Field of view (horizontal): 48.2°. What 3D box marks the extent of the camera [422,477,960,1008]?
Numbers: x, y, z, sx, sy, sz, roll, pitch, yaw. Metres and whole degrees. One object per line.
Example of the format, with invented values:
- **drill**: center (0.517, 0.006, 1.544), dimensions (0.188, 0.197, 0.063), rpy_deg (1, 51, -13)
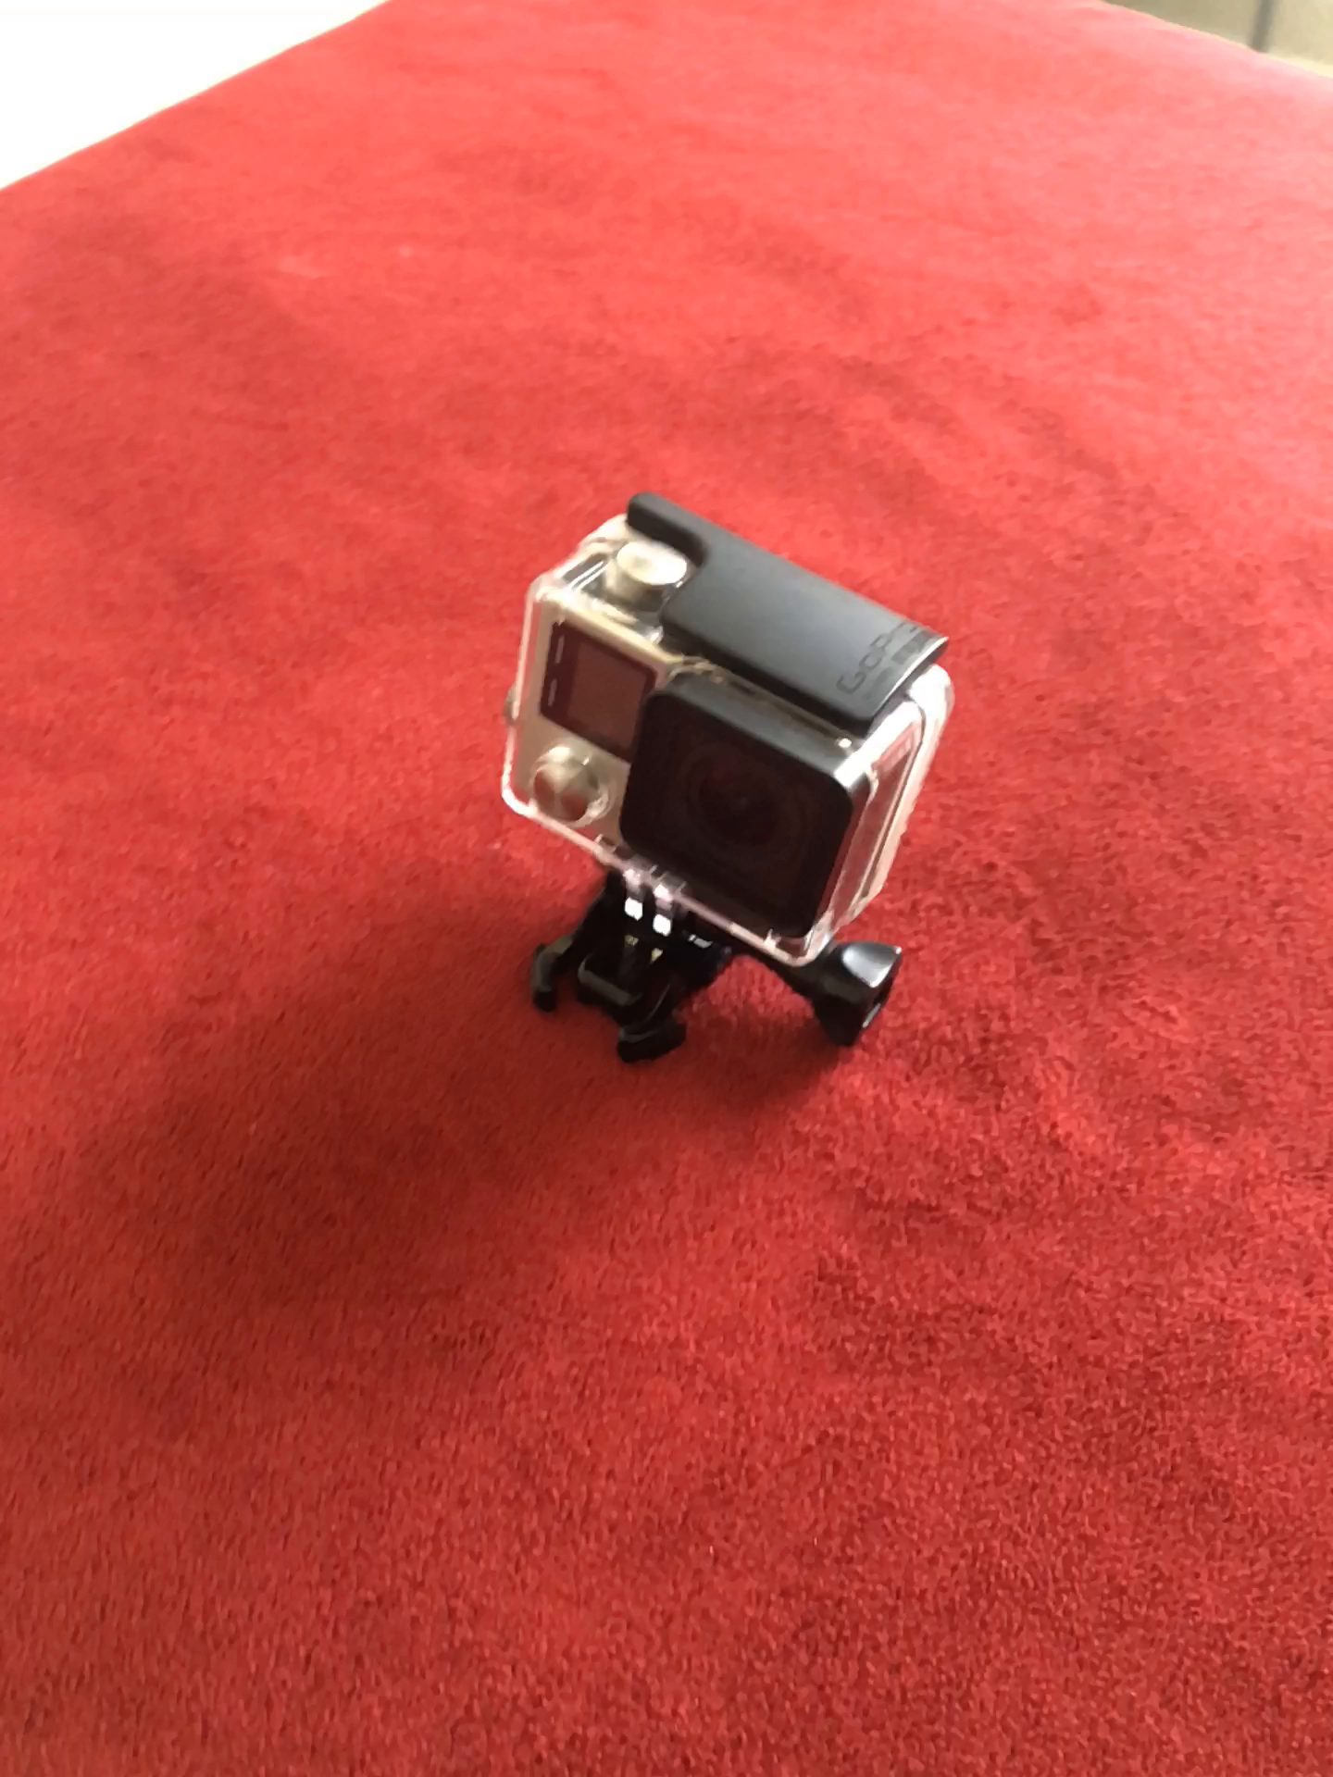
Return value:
- **camera**: center (0.001, -0.025, 0.244), dimensions (0.072, 0.050, 0.040), rpy_deg (27, 45, 19)
